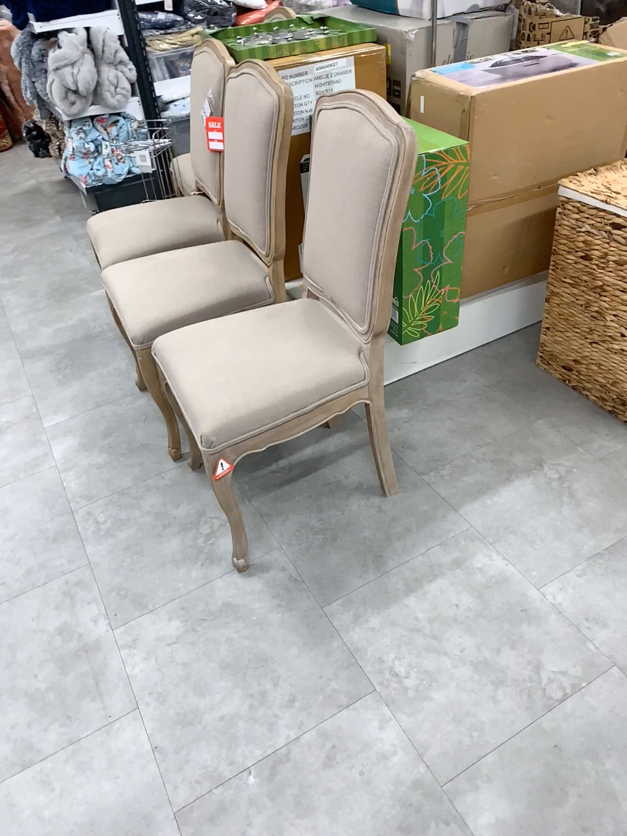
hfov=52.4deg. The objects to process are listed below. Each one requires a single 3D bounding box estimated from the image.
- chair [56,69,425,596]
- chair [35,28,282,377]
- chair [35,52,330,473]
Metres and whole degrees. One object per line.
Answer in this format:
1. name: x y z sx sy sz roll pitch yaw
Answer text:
1. chair: -0.119 -0.196 1.482 0.546 0.972 0.511 -21 38 -19
2. chair: -0.511 -0.753 2.236 0.546 0.972 0.511 -18 37 -15
3. chair: -0.341 -0.445 1.845 0.546 0.972 0.511 -18 37 -15
